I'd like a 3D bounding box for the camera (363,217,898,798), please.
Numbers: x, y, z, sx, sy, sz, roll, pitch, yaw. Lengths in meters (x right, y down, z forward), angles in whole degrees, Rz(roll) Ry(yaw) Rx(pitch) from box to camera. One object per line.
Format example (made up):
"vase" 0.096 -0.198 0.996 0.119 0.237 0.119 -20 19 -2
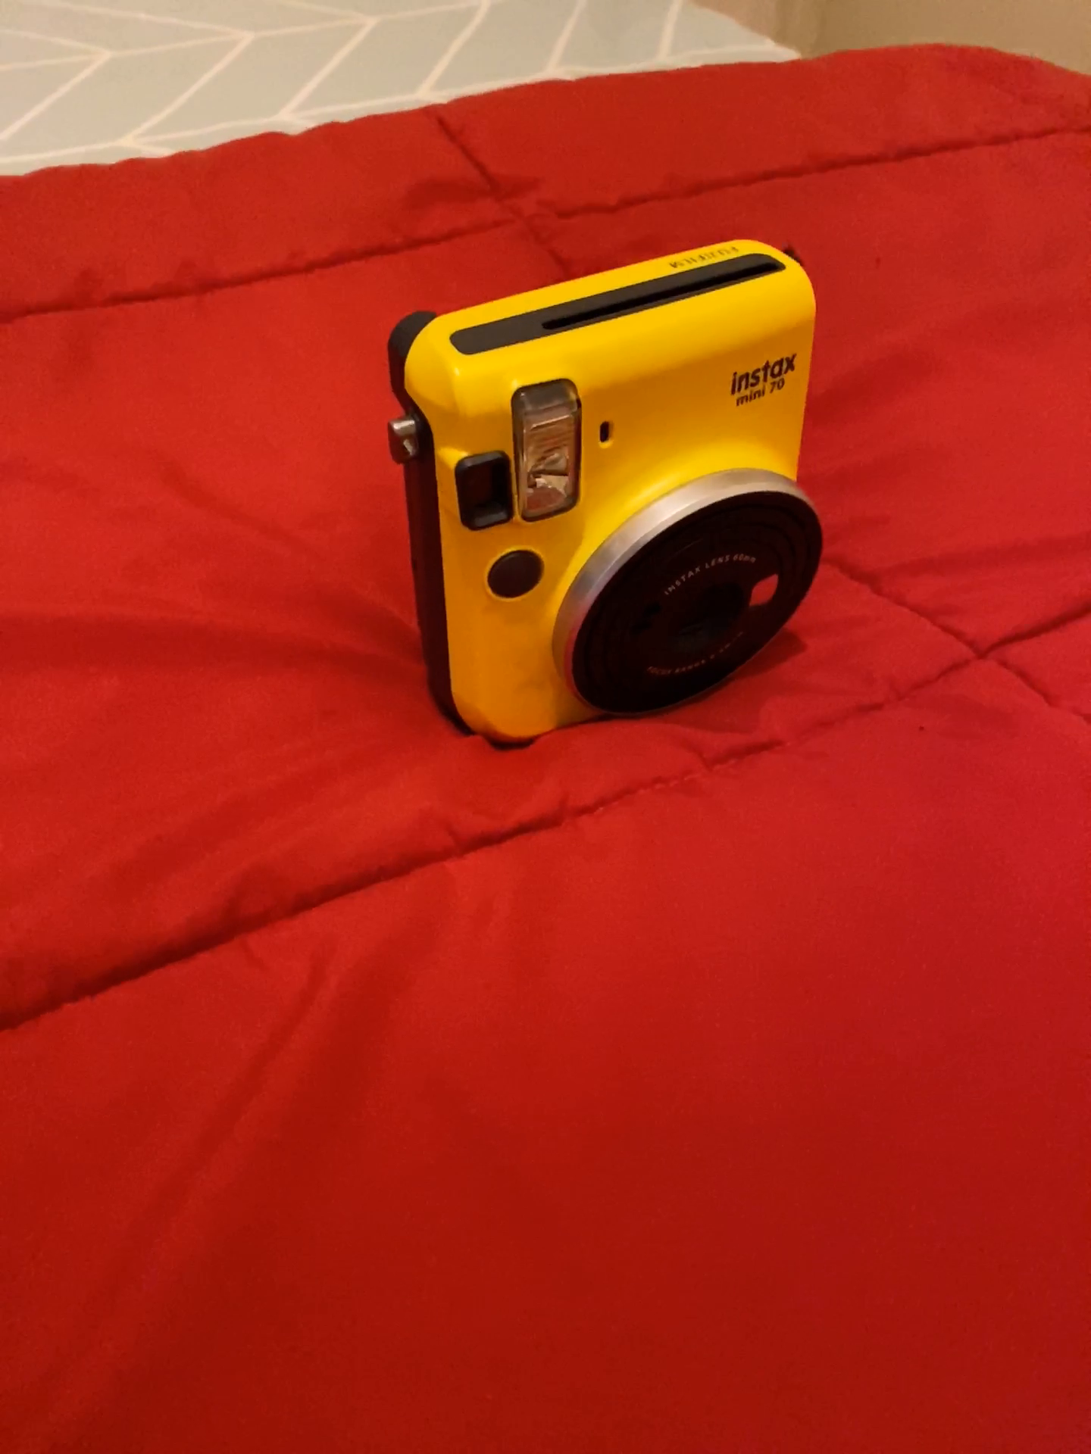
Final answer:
"camera" 0.016 -0.051 0.272 0.095 0.103 0.057 -20 53 -18
